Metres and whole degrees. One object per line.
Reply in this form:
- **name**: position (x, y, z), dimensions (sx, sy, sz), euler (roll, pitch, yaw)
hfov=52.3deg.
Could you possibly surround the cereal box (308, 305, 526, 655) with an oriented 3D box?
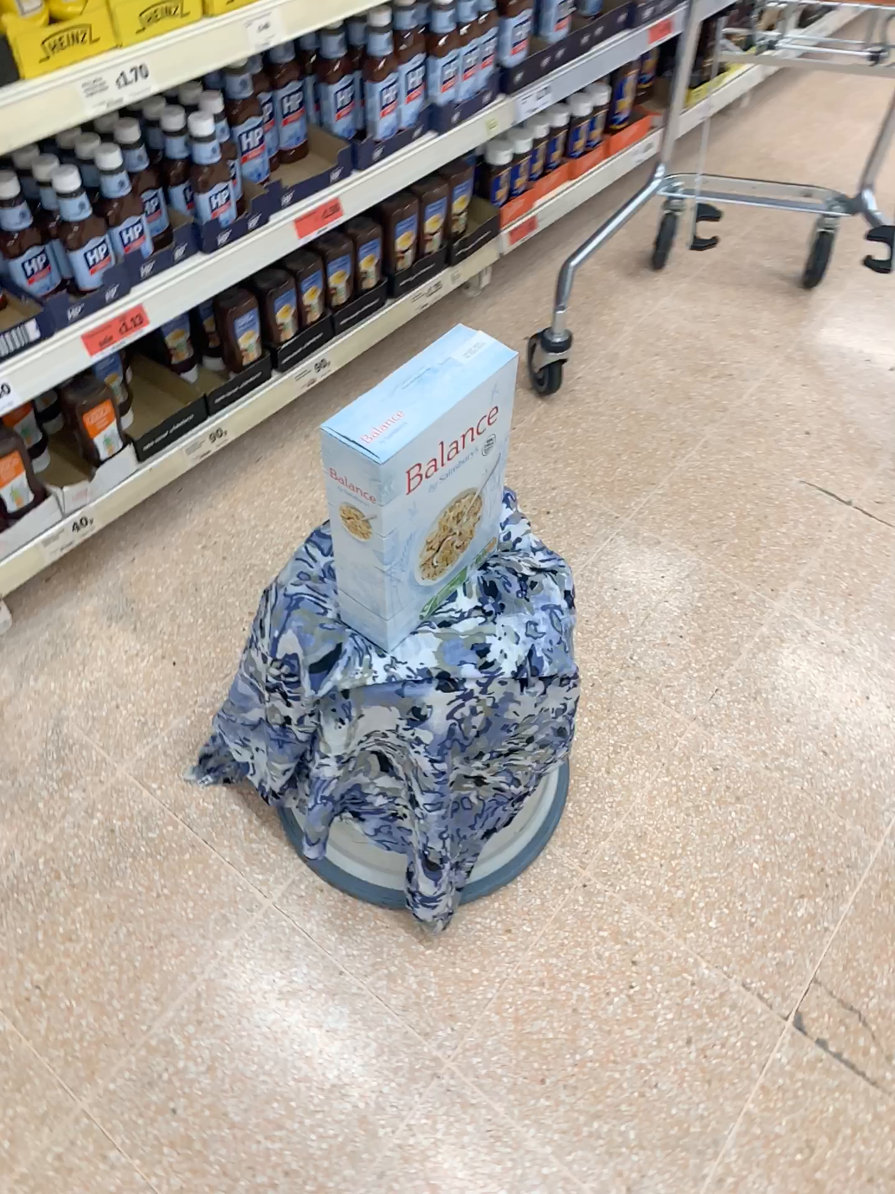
- **cereal box**: position (-0.026, -0.108, 0.900), dimensions (0.070, 0.278, 0.211), euler (33, 57, 22)
